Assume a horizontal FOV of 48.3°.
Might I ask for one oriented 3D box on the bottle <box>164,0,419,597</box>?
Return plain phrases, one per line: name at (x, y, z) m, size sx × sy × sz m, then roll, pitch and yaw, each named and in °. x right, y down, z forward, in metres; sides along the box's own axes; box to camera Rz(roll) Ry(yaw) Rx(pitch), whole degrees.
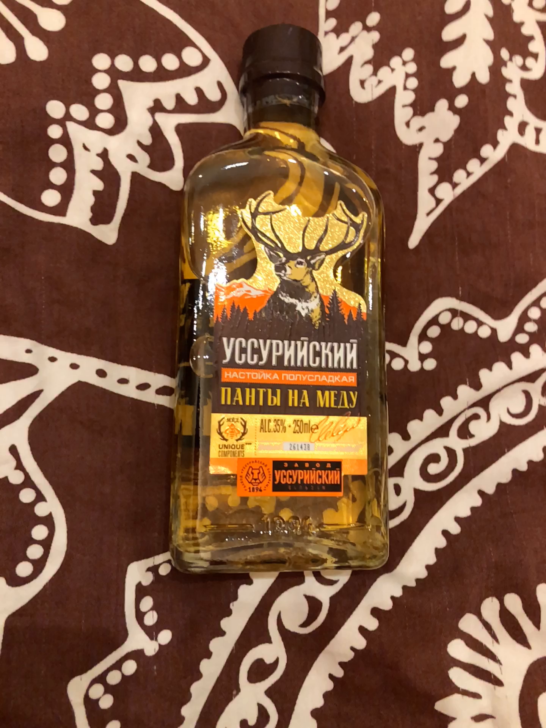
bottle at (0.003, -0.027, 0.206) m, size 0.070 × 0.050 × 0.190 m, roll 2°, pitch 80°, yaw -9°
